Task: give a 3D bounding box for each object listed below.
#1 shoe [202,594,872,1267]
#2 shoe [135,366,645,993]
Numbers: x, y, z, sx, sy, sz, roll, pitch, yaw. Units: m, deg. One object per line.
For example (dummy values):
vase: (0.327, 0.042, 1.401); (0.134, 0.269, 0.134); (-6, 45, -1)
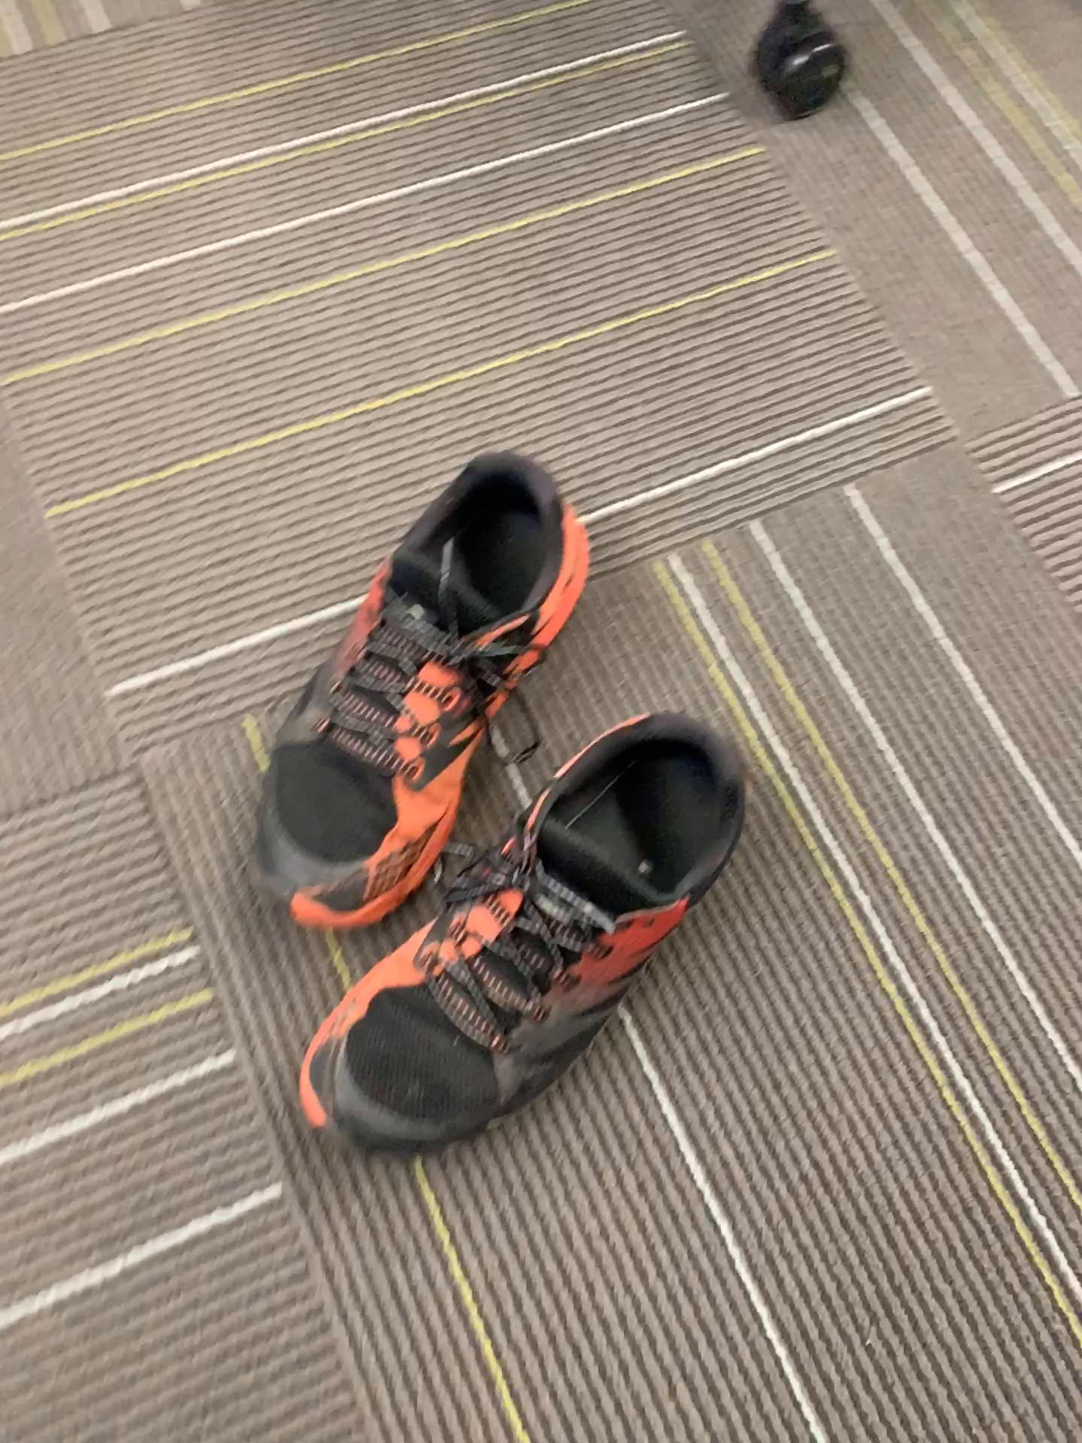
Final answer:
shoe: (0.005, 0.104, 0.582); (0.130, 0.130, 0.320); (43, 73, 13)
shoe: (-0.071, -0.024, 0.632); (0.130, 0.130, 0.310); (25, 70, 7)
